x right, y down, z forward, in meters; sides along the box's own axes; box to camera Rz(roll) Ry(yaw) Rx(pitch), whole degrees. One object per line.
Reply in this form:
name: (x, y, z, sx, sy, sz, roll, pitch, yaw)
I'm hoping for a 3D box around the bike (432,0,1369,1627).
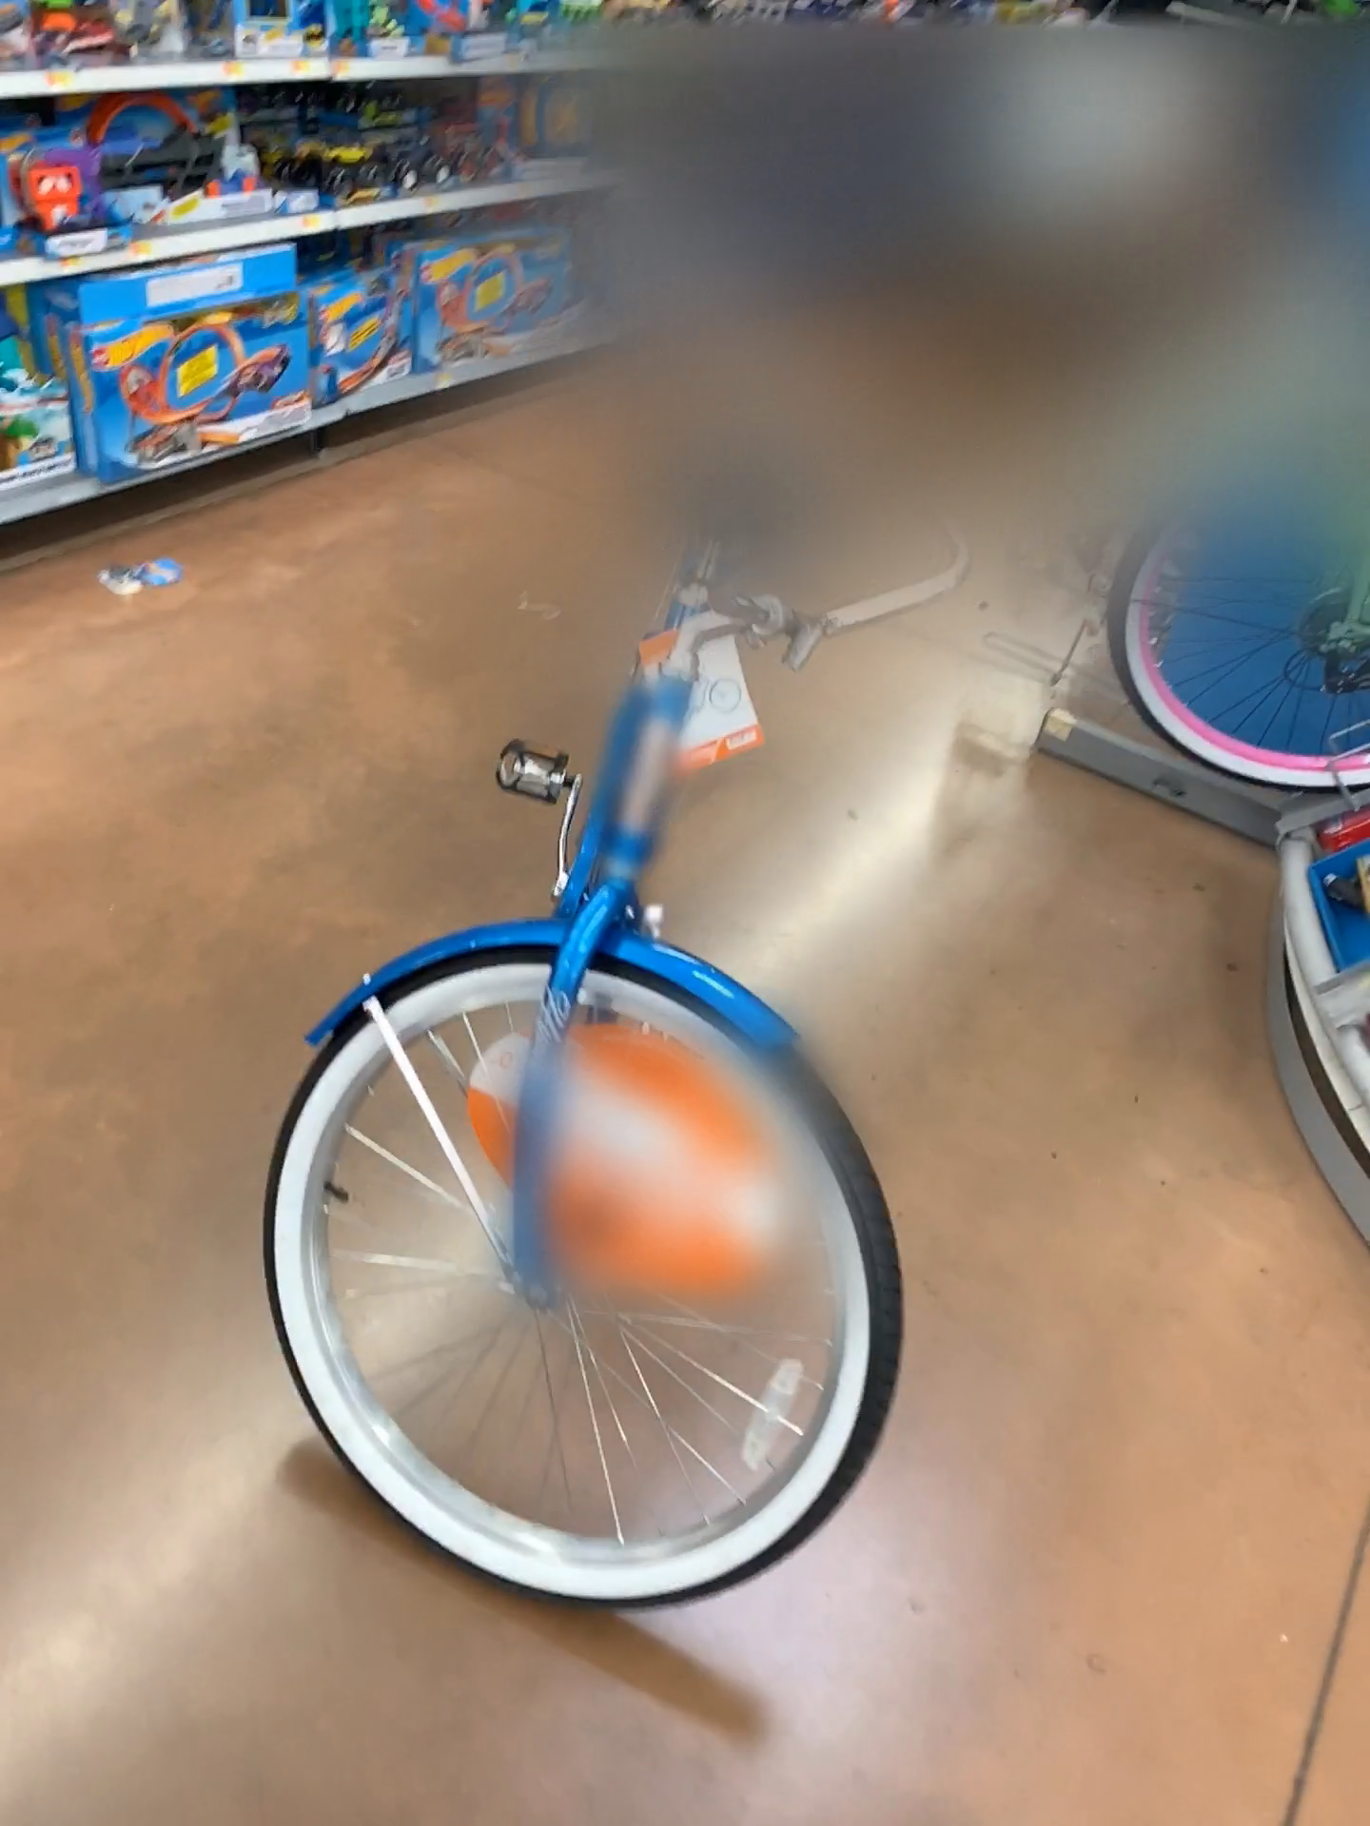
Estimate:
bike: (0.164, -0.274, 1.704, 0.873, 1.208, 1.537, 4, 39, -7)
